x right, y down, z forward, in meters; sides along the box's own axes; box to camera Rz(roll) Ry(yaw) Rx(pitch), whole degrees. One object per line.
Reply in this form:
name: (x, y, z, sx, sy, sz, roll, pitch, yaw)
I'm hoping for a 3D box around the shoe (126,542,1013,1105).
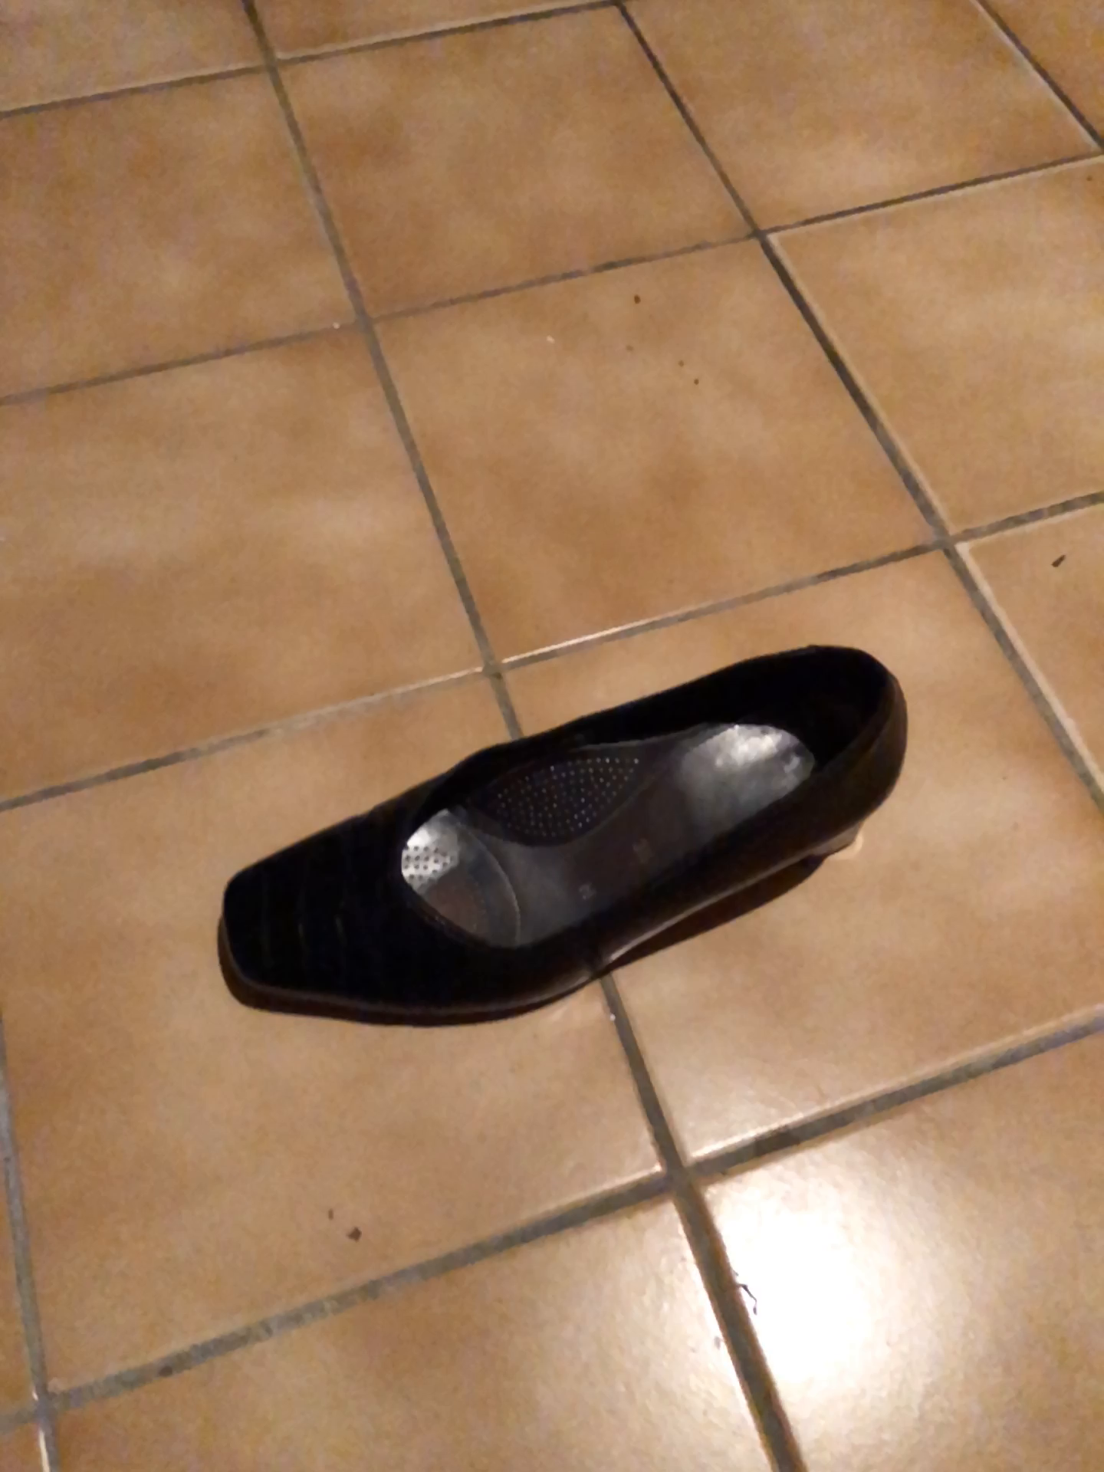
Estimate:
shoe: (0.003, 0.029, 0.407, 0.250, 0.090, 0.100, -14, 63, -9)
